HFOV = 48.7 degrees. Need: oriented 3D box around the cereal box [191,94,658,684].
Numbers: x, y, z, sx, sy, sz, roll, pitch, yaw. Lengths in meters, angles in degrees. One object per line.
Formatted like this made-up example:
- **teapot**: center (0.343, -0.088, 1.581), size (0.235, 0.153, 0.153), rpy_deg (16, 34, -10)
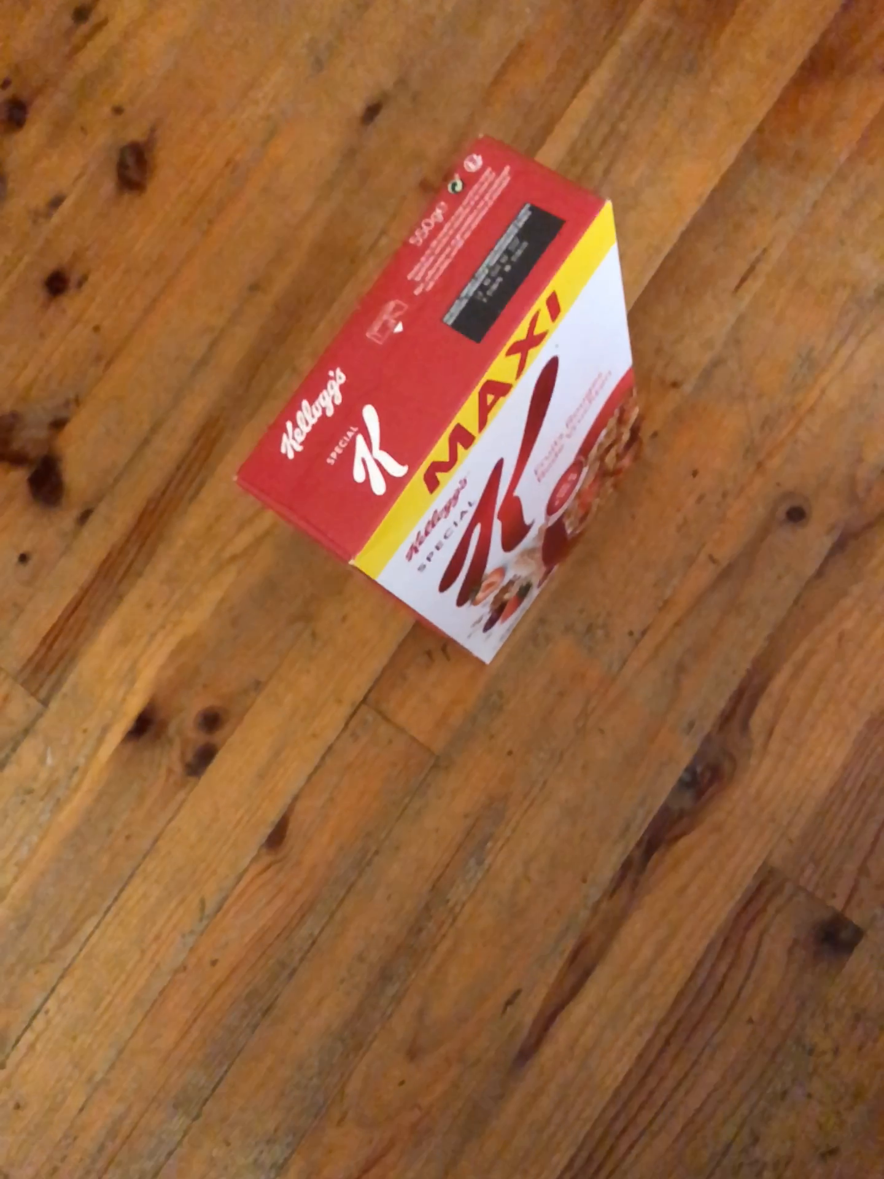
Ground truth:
- **cereal box**: center (0.021, -0.077, 0.548), size (0.090, 0.290, 0.210), rpy_deg (34, 87, 18)
